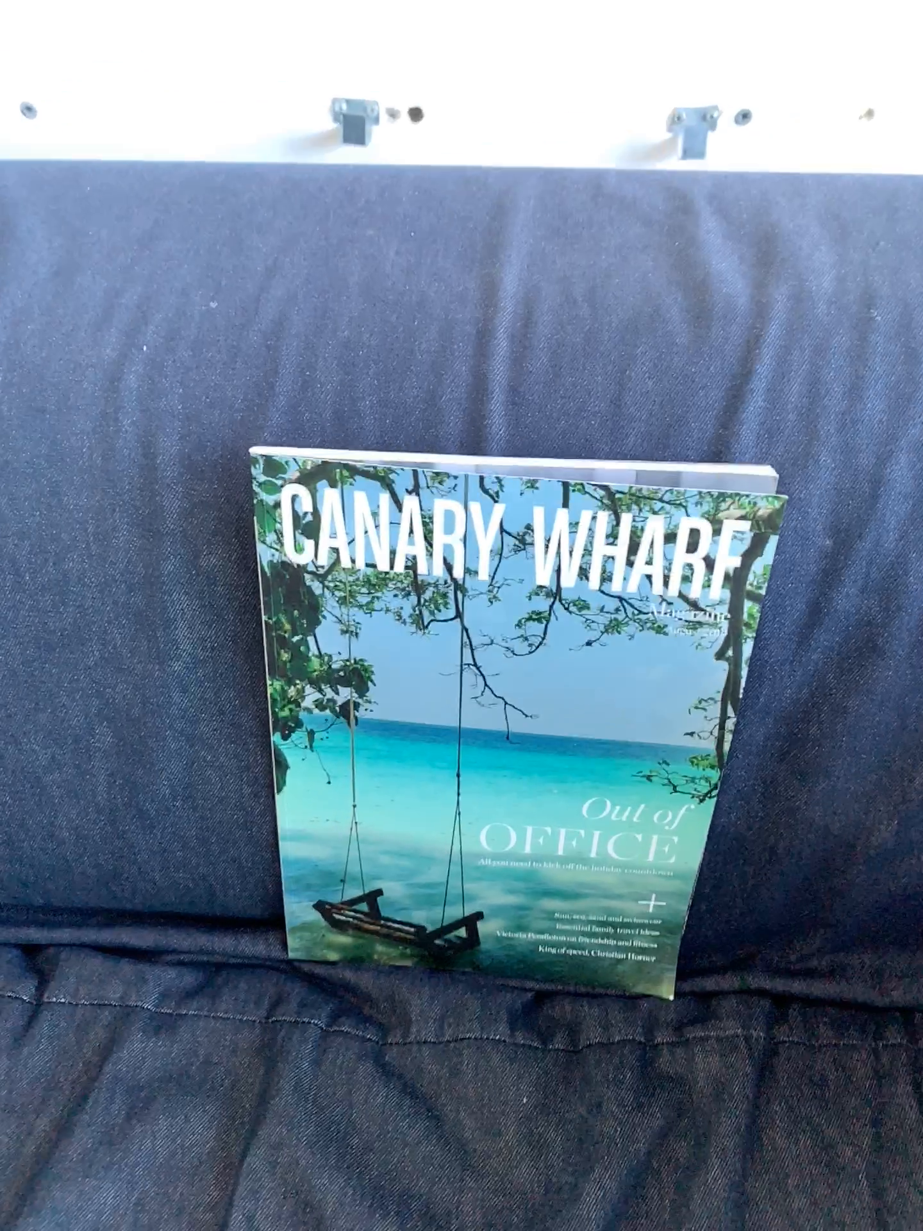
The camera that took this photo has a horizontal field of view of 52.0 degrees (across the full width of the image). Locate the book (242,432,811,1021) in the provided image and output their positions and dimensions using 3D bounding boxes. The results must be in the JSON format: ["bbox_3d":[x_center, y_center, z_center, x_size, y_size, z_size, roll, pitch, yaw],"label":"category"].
[{"bbox_3d":[0.019,0.062,0.419,0.205,0.273,0.030,4,28,5],"label":"book"}]
